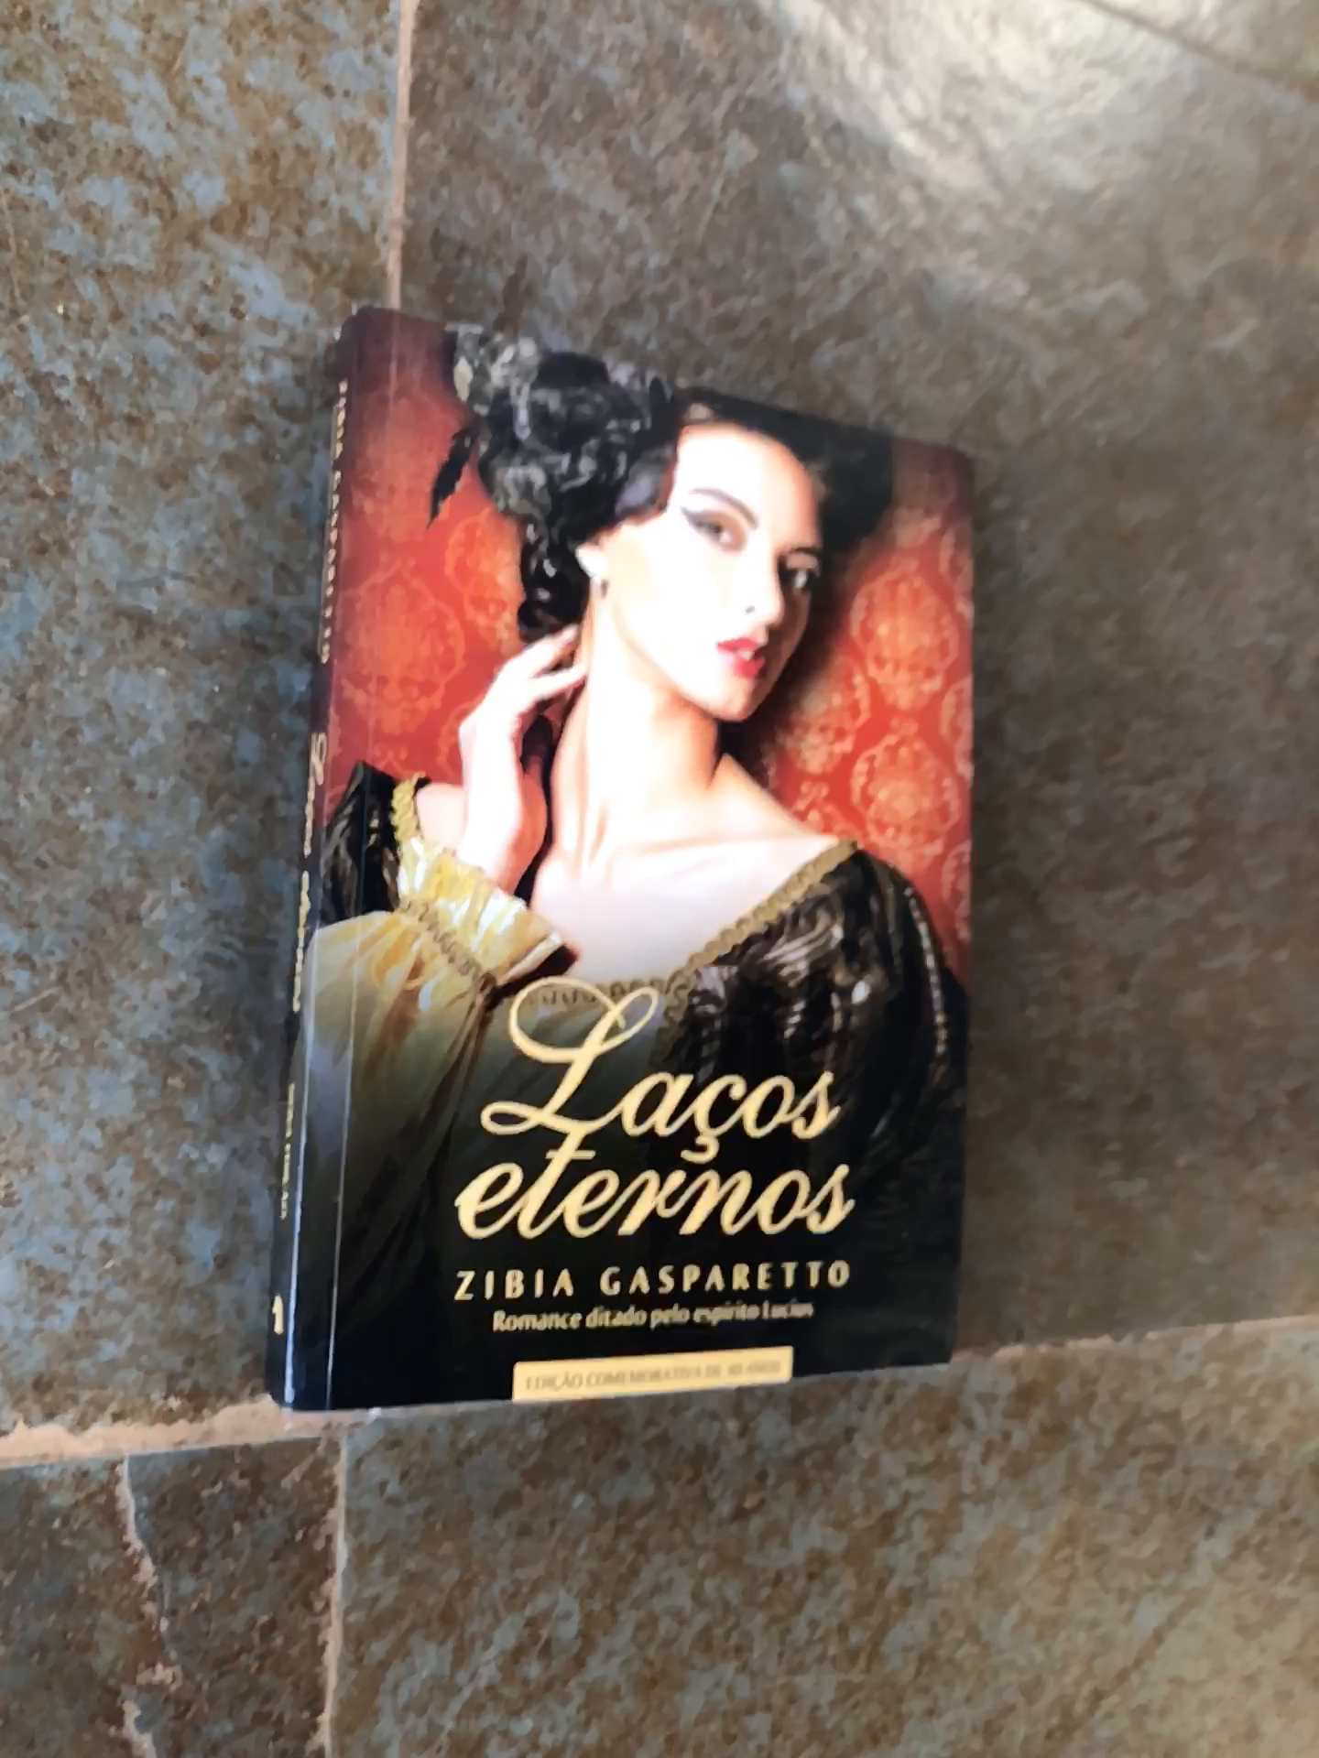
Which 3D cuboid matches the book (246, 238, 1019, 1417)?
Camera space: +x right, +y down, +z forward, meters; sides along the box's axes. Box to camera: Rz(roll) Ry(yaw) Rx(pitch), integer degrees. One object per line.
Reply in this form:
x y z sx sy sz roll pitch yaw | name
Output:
0.003 -0.007 0.299 0.154 0.027 0.204 5 81 -27 | book
